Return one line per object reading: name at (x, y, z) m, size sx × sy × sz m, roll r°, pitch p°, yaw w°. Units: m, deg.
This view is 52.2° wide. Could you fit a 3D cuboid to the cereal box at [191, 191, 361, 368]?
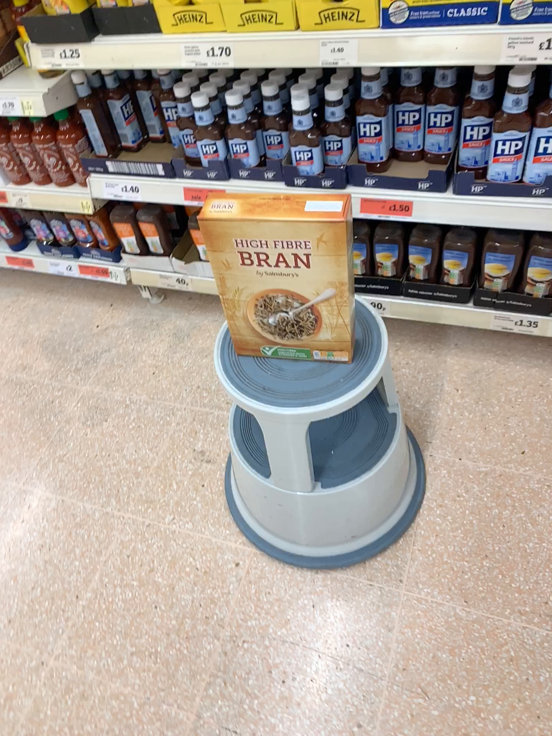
cereal box at (0.015, -0.119, 0.824) m, size 0.200 × 0.278 × 0.060 m, roll 4°, pitch 51°, yaw 15°
